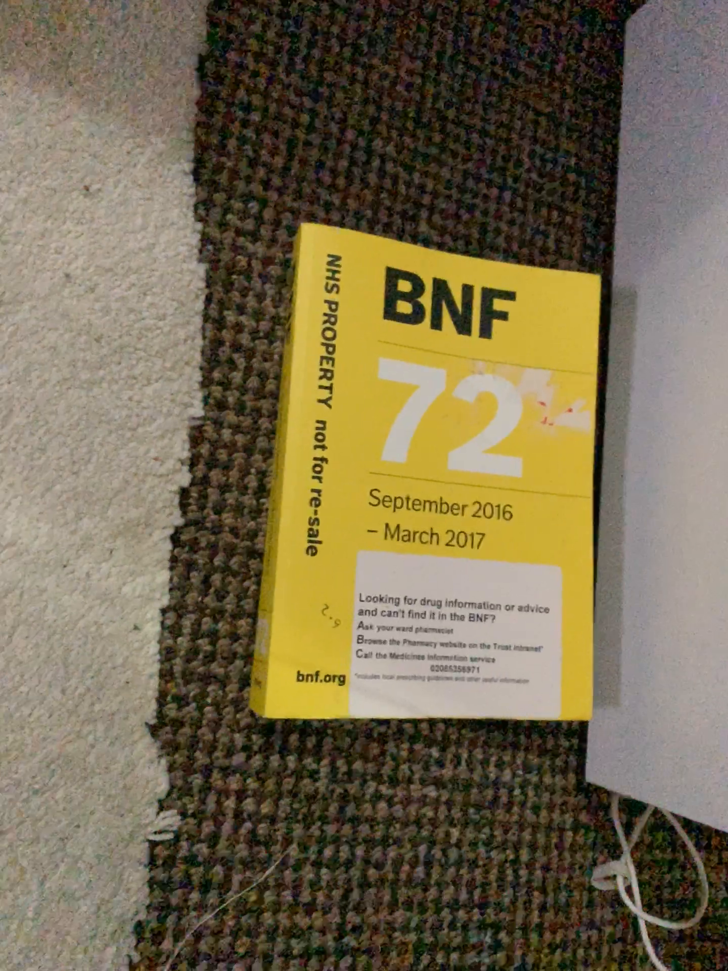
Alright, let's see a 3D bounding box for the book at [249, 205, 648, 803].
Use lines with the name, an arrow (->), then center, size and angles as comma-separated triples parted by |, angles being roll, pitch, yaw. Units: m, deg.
book -> 0.042, 0.011, 0.329 | 0.160, 0.050, 0.220 | 6, 80, -23
